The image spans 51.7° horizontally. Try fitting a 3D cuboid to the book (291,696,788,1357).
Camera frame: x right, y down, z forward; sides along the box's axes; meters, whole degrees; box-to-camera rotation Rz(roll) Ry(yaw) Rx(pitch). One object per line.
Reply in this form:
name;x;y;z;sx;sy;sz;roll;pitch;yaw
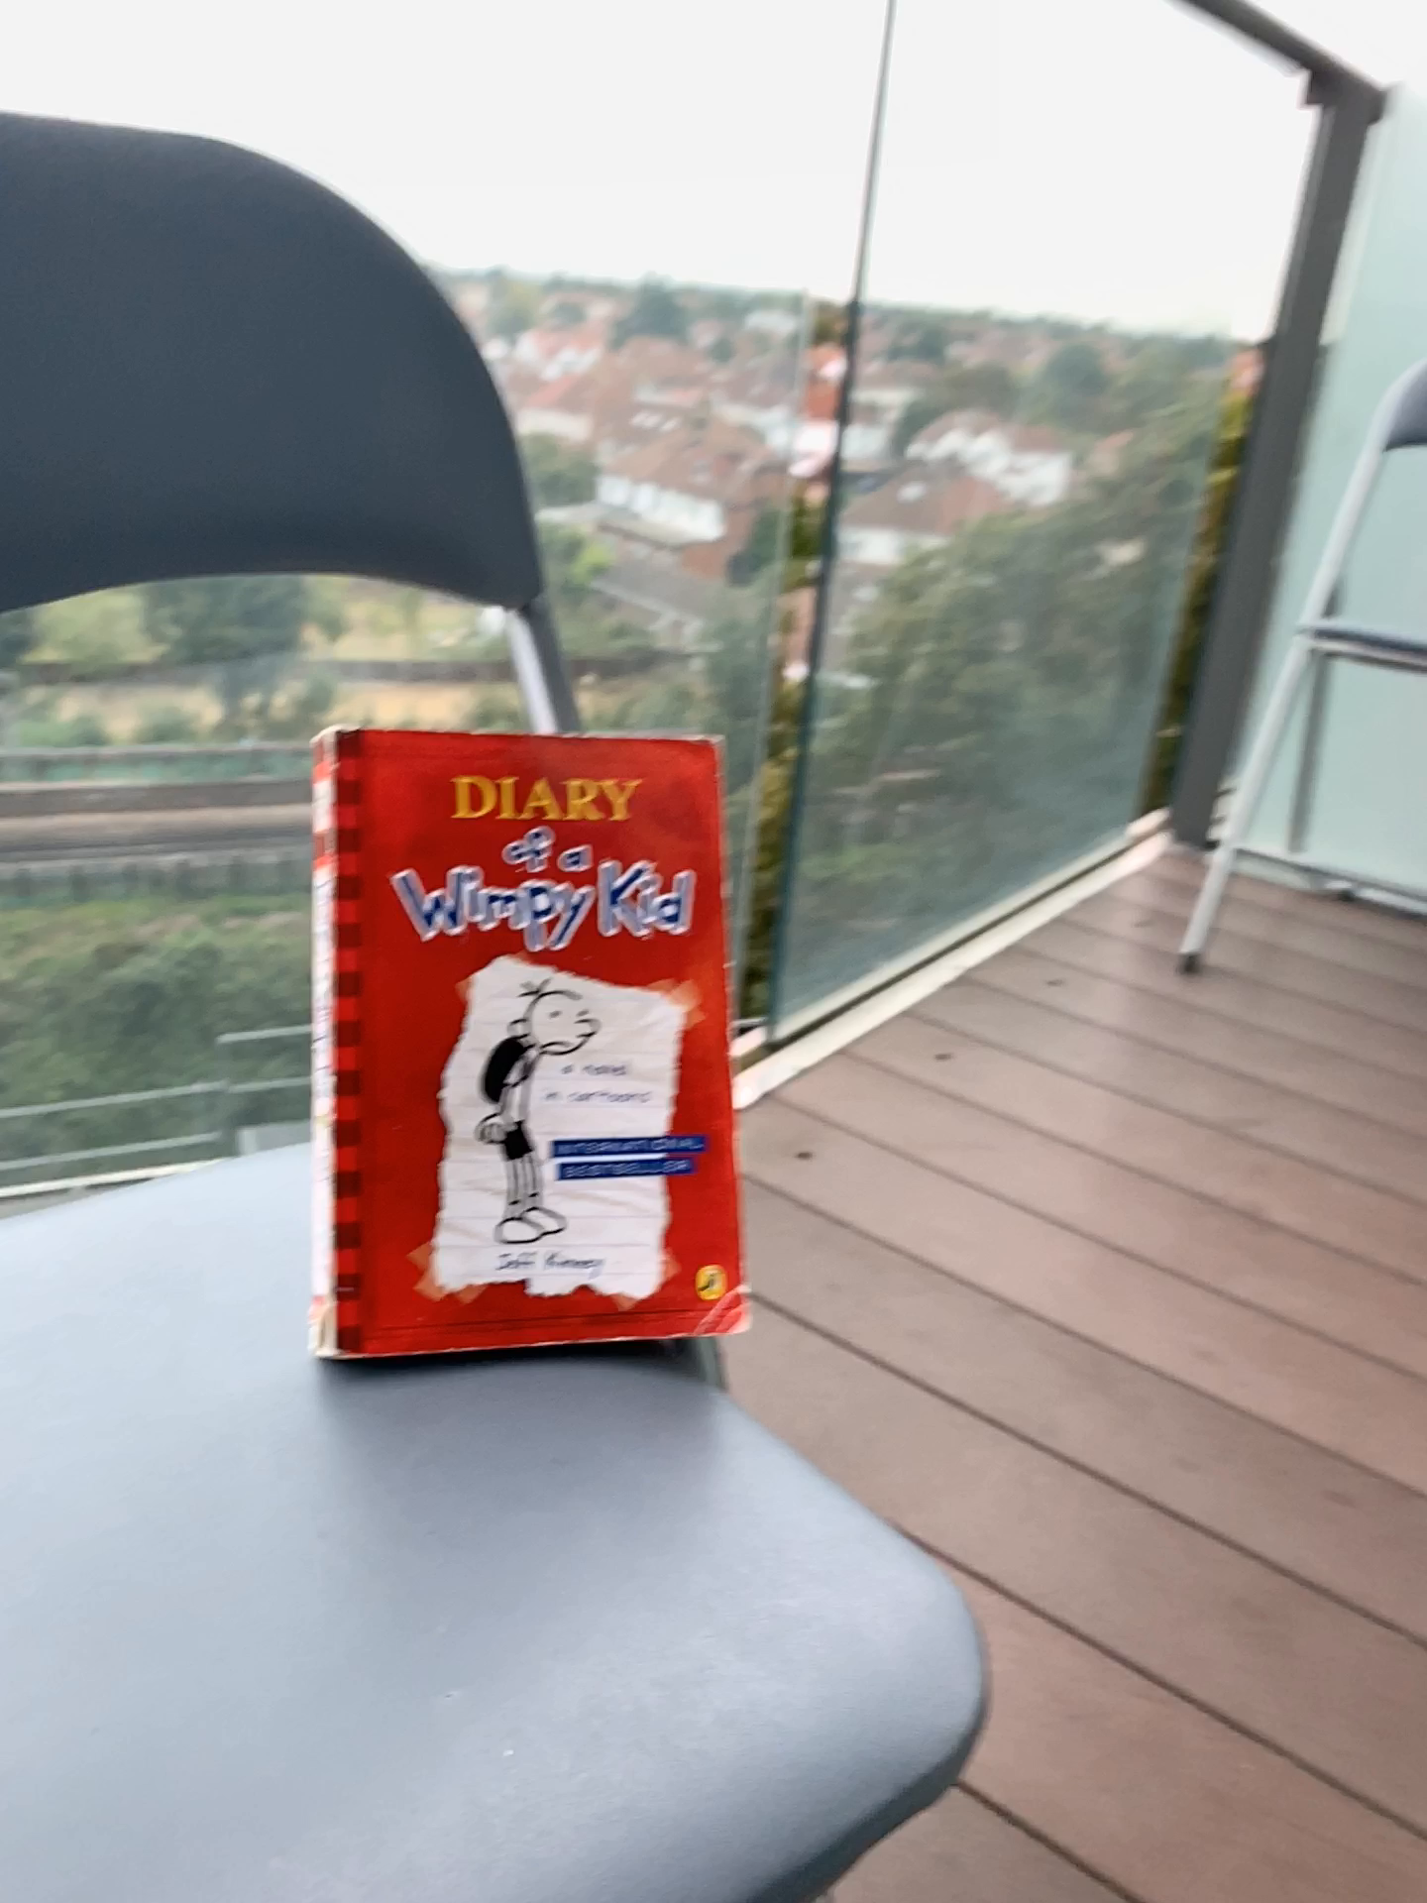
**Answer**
book;-0.057;0.022;0.480;0.150;0.201;0.040;0;-9;-12
